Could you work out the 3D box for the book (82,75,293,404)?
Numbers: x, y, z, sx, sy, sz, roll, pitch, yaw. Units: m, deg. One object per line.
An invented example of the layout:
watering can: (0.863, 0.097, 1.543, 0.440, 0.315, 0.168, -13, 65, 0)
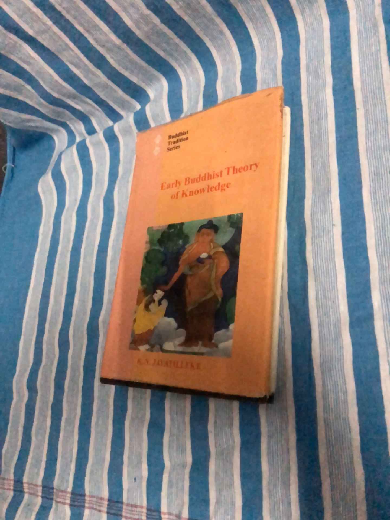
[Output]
book: (-0.006, -0.015, 0.328, 0.150, 0.030, 0.220, -5, 71, 35)
